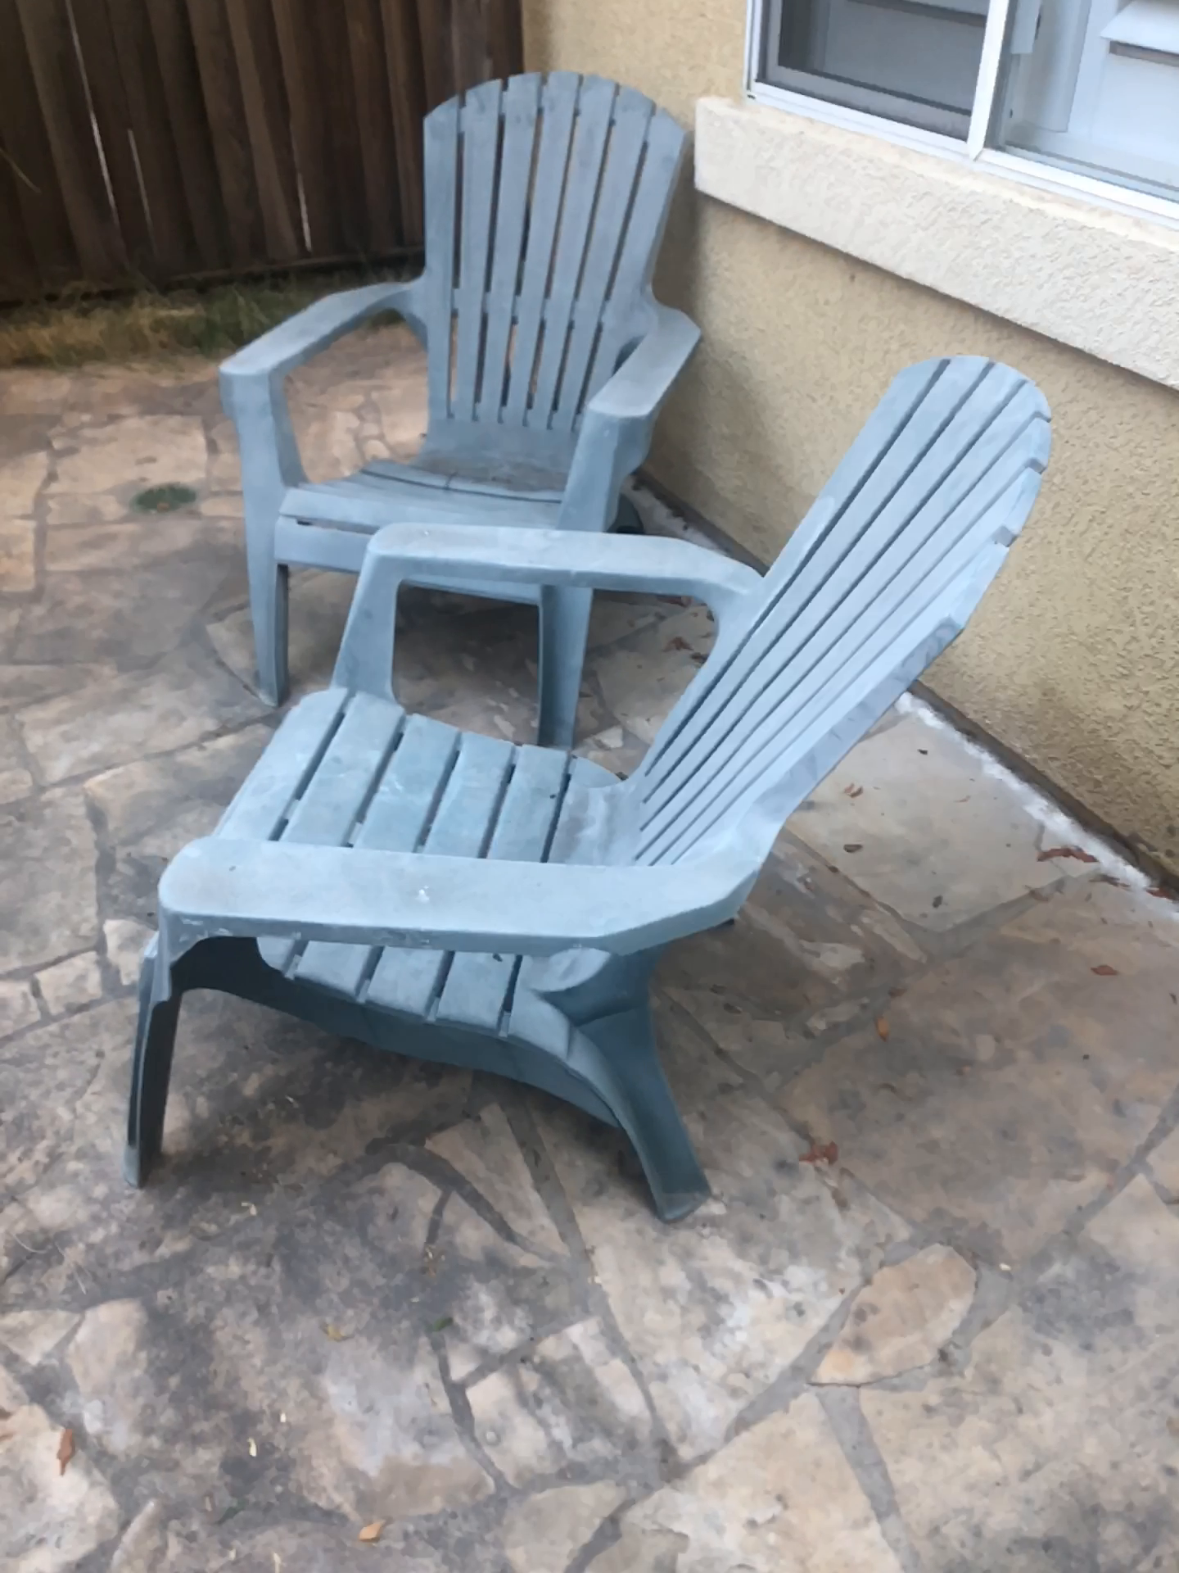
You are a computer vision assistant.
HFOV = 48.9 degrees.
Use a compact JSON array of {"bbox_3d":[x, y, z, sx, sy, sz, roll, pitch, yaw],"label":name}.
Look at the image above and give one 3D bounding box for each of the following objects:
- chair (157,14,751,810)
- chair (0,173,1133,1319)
[{"bbox_3d":[-0.204,-0.774,2.550,0.740,1.220,0.918,11,31,12],"label":"chair"},{"bbox_3d":[-0.091,-0.059,1.404,0.920,0.882,0.696,8,37,3],"label":"chair"}]
